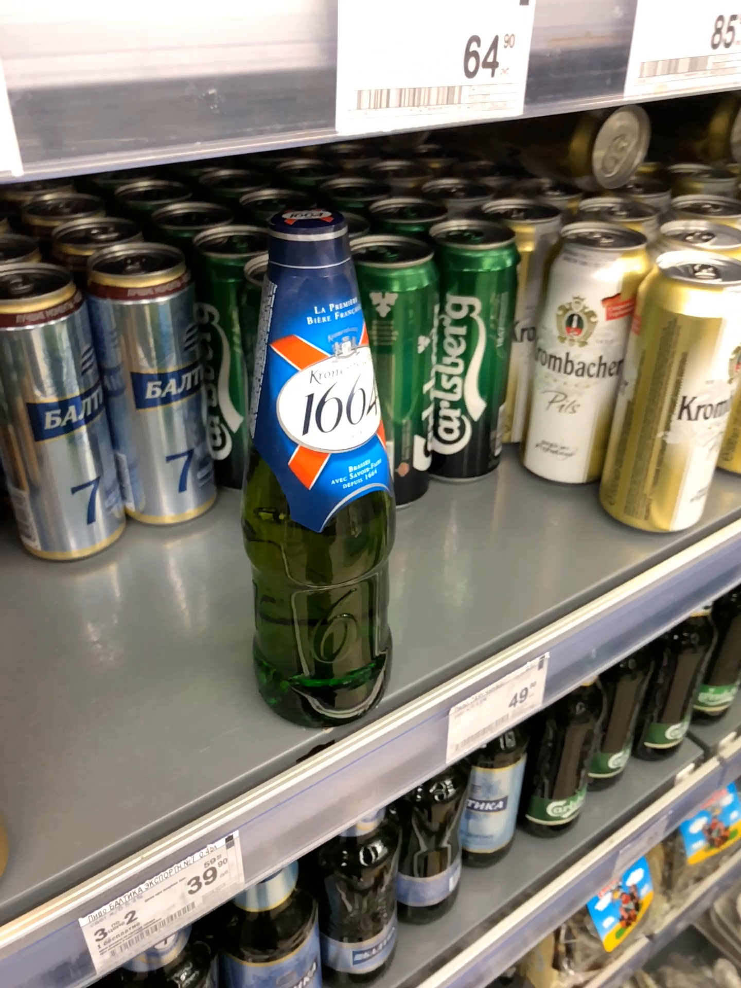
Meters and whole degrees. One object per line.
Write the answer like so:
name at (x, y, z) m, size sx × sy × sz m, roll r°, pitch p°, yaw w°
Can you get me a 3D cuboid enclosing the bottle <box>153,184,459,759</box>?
bottle at (-0.027, -0.004, 0.363) m, size 0.080 × 0.229 × 0.080 m, roll 1°, pitch 34°, yaw -1°
